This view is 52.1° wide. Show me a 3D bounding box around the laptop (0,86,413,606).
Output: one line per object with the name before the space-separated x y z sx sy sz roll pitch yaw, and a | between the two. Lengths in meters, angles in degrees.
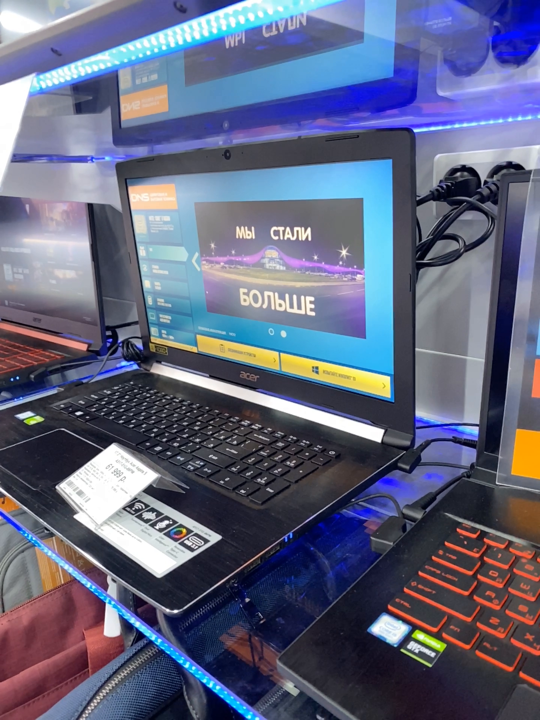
laptop | -0.128 -0.053 0.520 0.423 0.277 0.272 12 21 41
